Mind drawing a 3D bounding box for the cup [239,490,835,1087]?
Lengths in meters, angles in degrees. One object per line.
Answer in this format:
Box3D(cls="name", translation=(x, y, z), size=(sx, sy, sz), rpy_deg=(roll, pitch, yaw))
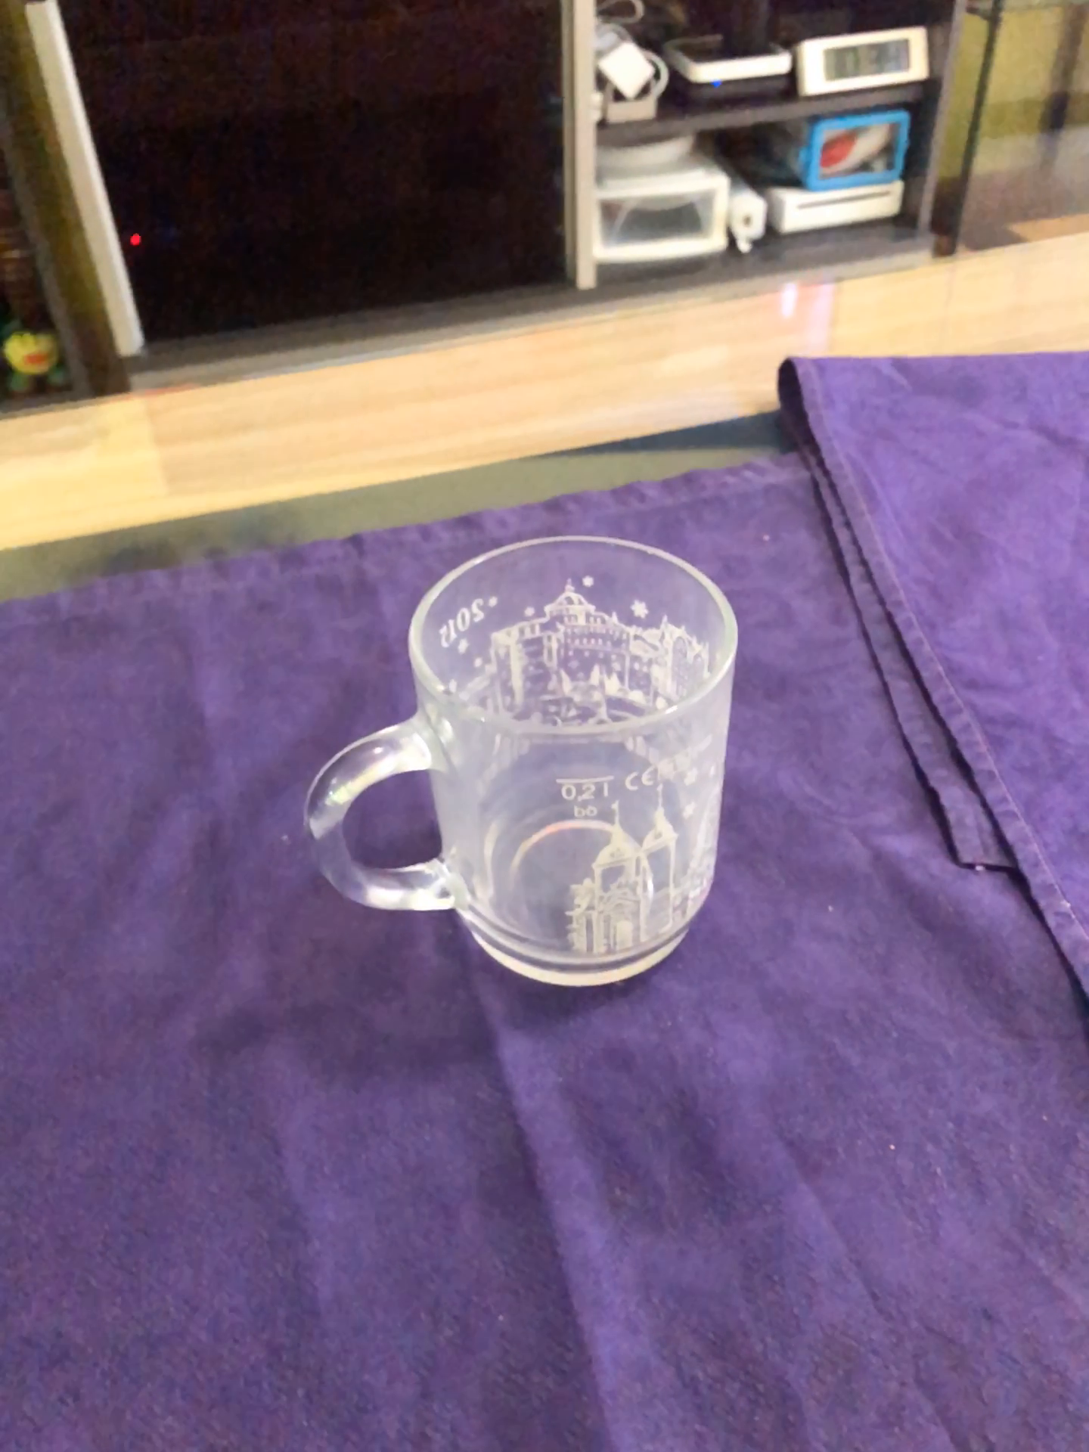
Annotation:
Box3D(cls="cup", translation=(-0.002, 0.011, 0.270), size=(0.100, 0.080, 0.070), rpy_deg=(-18, 42, -16))
